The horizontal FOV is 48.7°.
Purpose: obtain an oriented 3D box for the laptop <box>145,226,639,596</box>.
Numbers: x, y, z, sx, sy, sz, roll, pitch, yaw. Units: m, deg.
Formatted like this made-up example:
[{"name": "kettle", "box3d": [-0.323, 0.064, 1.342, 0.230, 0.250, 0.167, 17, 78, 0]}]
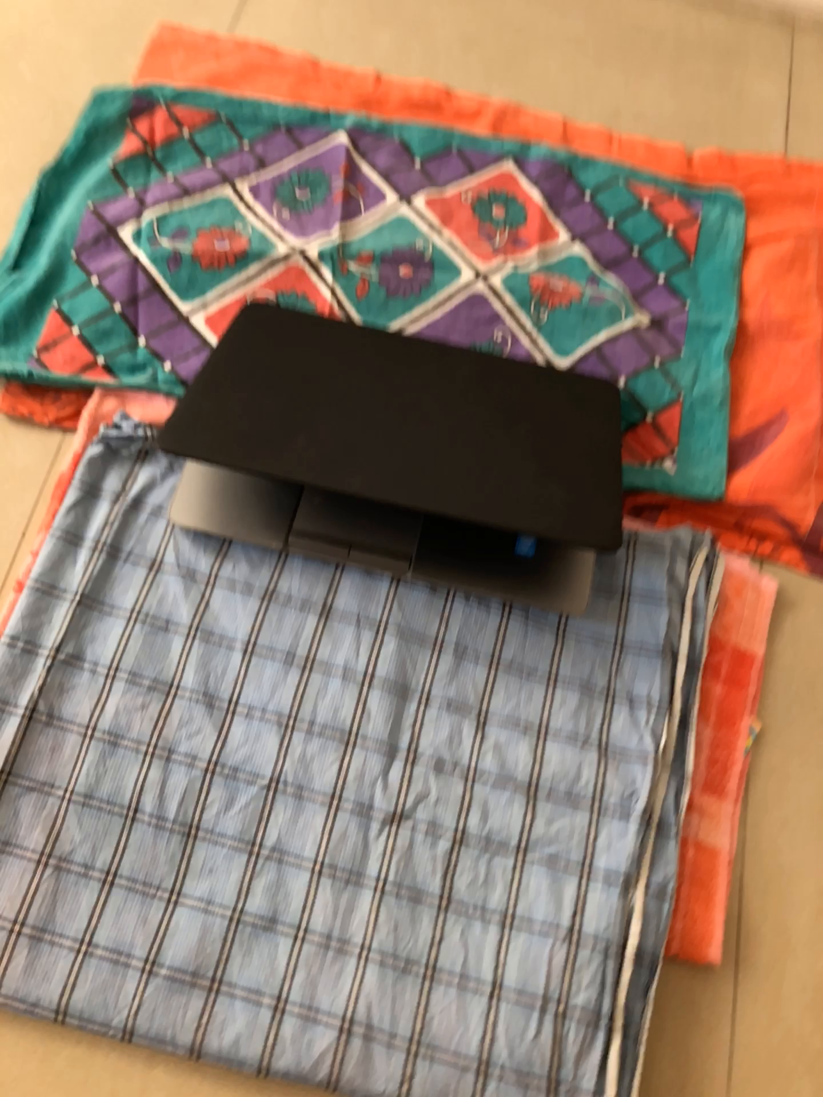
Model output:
[{"name": "laptop", "box3d": [-0.001, -0.107, 0.701, 0.321, 0.099, 0.213, 12, 62, -1]}]
